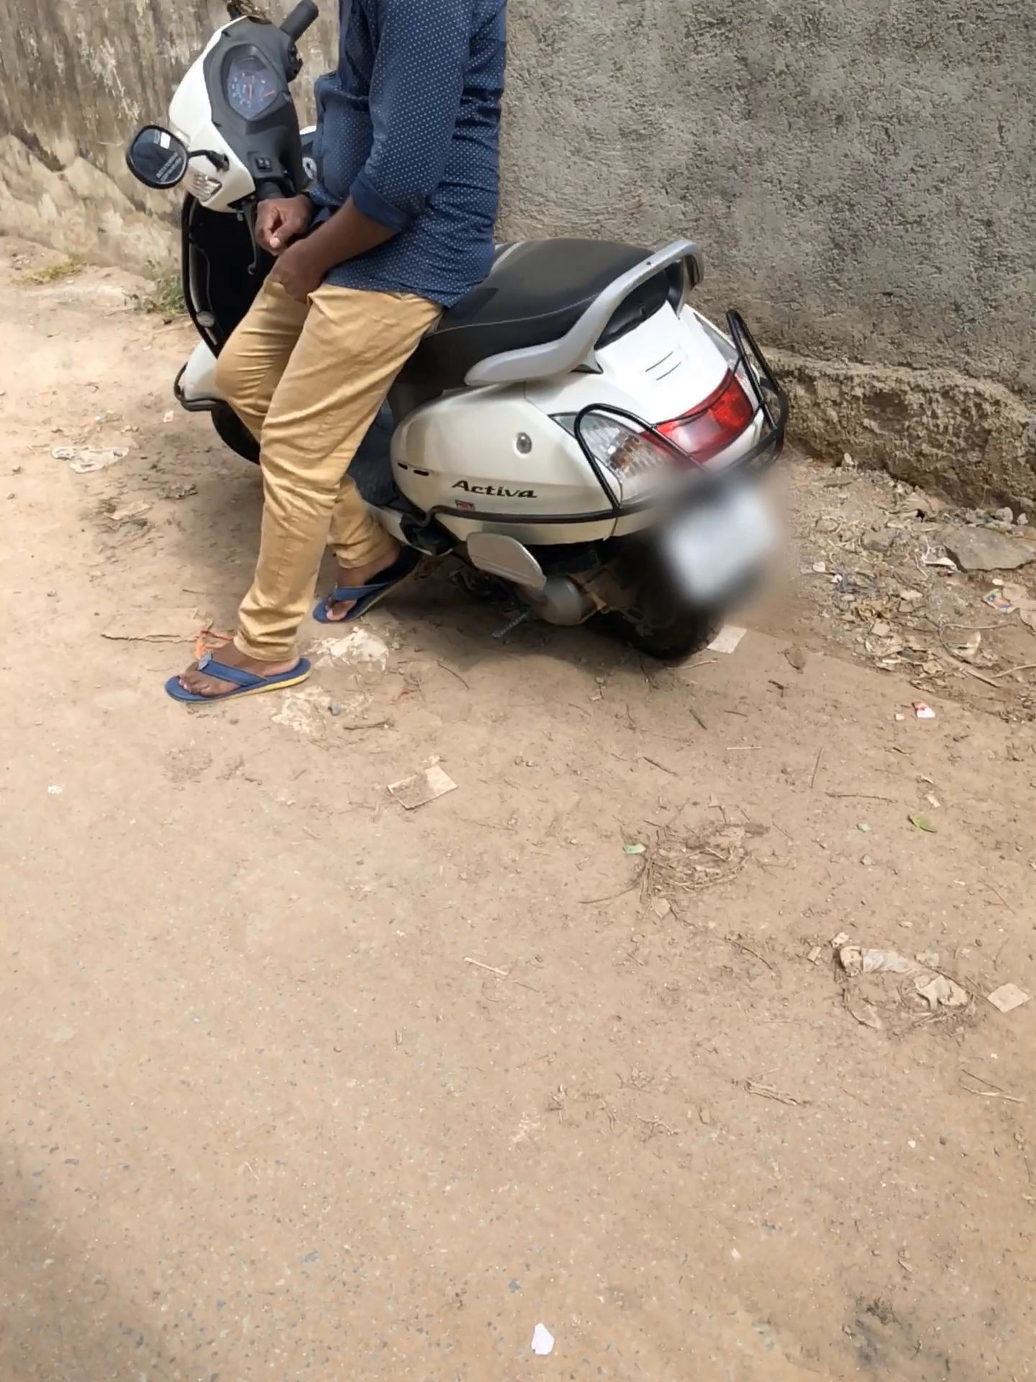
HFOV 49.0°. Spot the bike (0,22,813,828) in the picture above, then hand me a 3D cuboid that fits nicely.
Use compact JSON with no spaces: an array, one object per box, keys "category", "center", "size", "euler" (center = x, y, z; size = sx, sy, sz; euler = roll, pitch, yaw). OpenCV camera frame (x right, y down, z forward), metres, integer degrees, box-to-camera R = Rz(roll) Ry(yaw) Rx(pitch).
[{"category":"bike","center":[-0.384,-0.656,2.310],"size":[1.624,1.139,0.672],"euler":[27,44,36]}]
